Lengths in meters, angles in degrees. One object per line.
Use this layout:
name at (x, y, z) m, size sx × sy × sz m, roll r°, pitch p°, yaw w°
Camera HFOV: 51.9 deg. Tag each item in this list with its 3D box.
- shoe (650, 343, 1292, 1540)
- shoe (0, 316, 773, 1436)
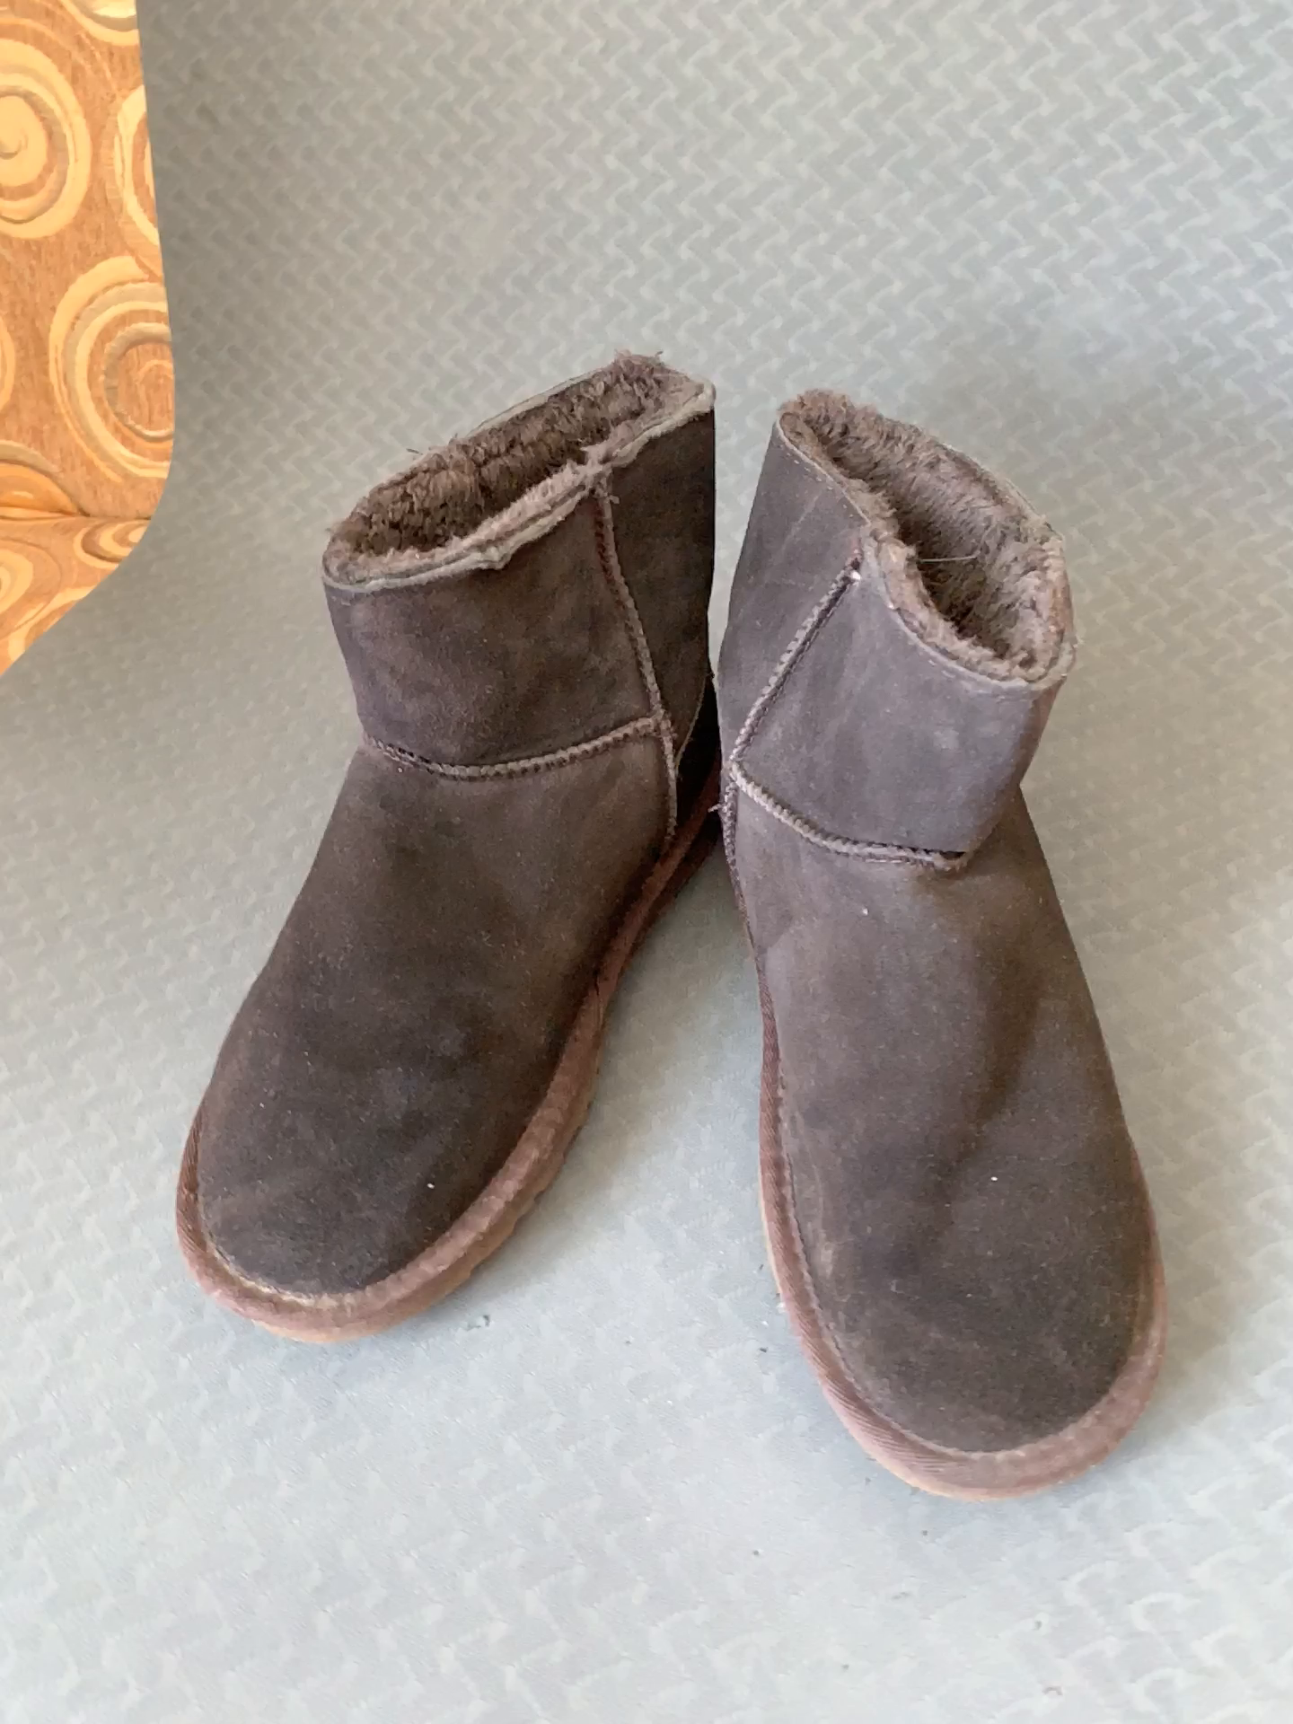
shoe at (0.068, 0.006, 0.330) m, size 0.100 × 0.139 × 0.254 m, roll -7°, pitch 50°, yaw -2°
shoe at (-0.056, -0.011, 0.355) m, size 0.100 × 0.139 × 0.254 m, roll 16°, pitch 53°, yaw 16°
